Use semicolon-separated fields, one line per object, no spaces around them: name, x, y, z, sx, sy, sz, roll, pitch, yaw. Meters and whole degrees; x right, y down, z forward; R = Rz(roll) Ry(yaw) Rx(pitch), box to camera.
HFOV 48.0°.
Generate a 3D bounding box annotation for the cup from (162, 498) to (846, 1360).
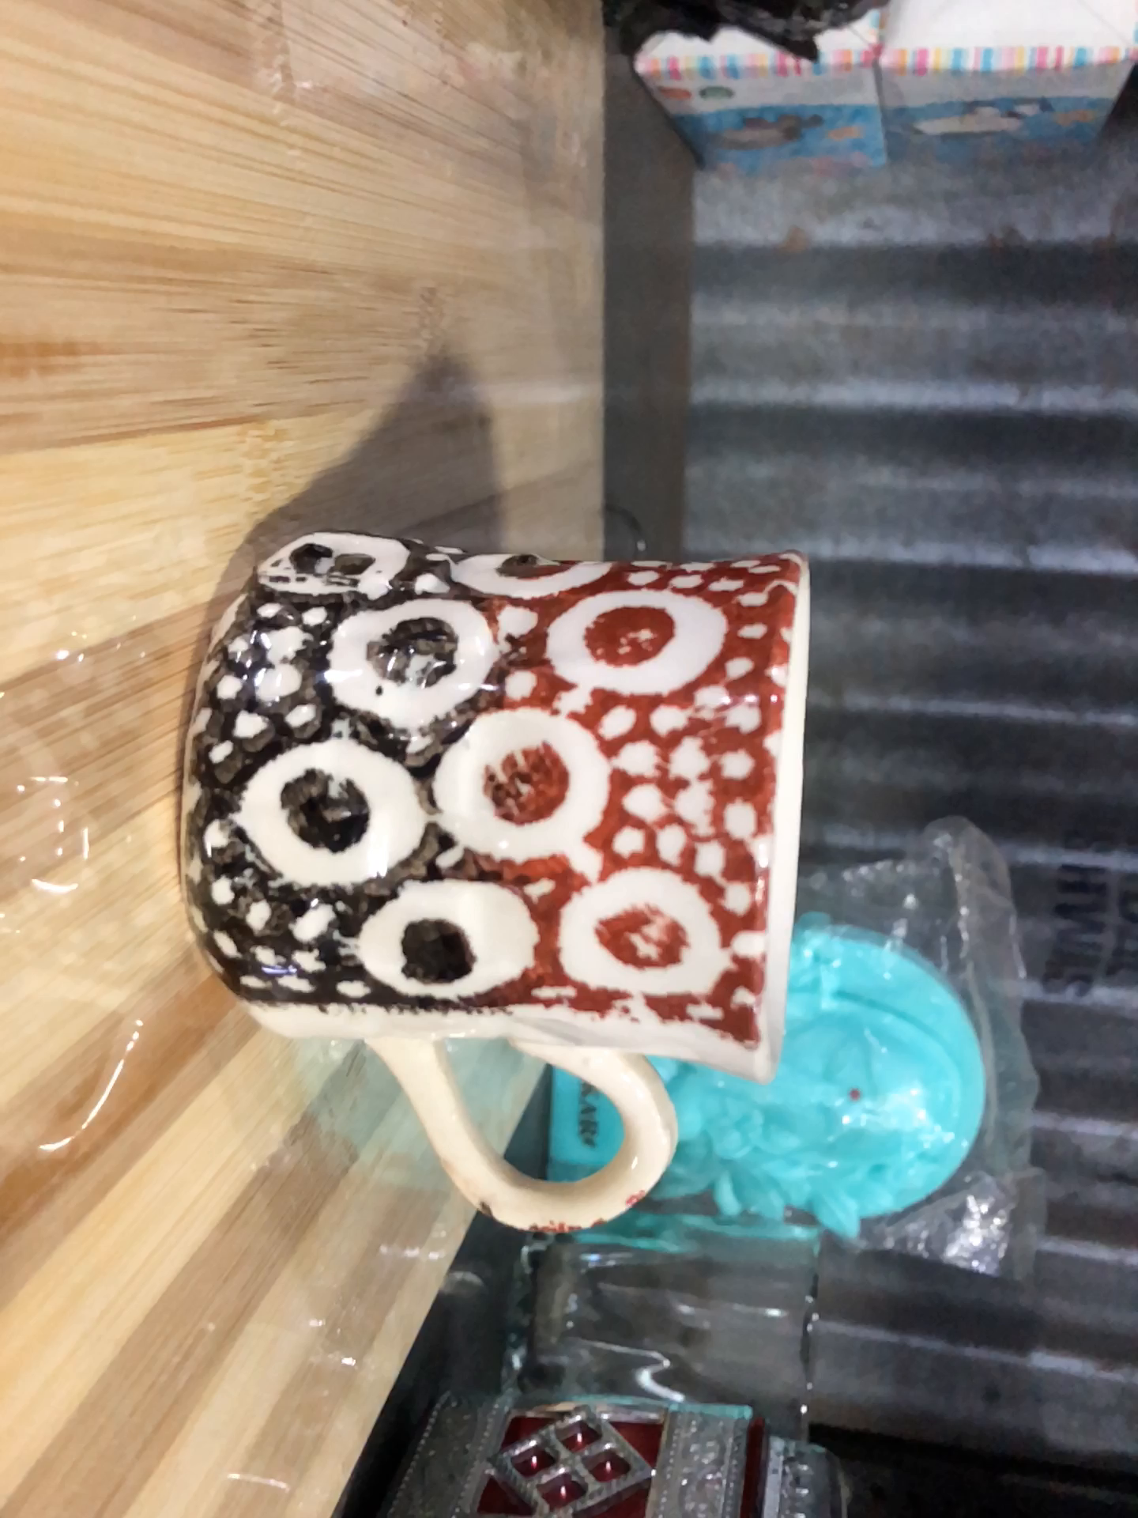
cup;-0.003;0.014;0.167;0.060;0.070;0.090;-49;141;-72
